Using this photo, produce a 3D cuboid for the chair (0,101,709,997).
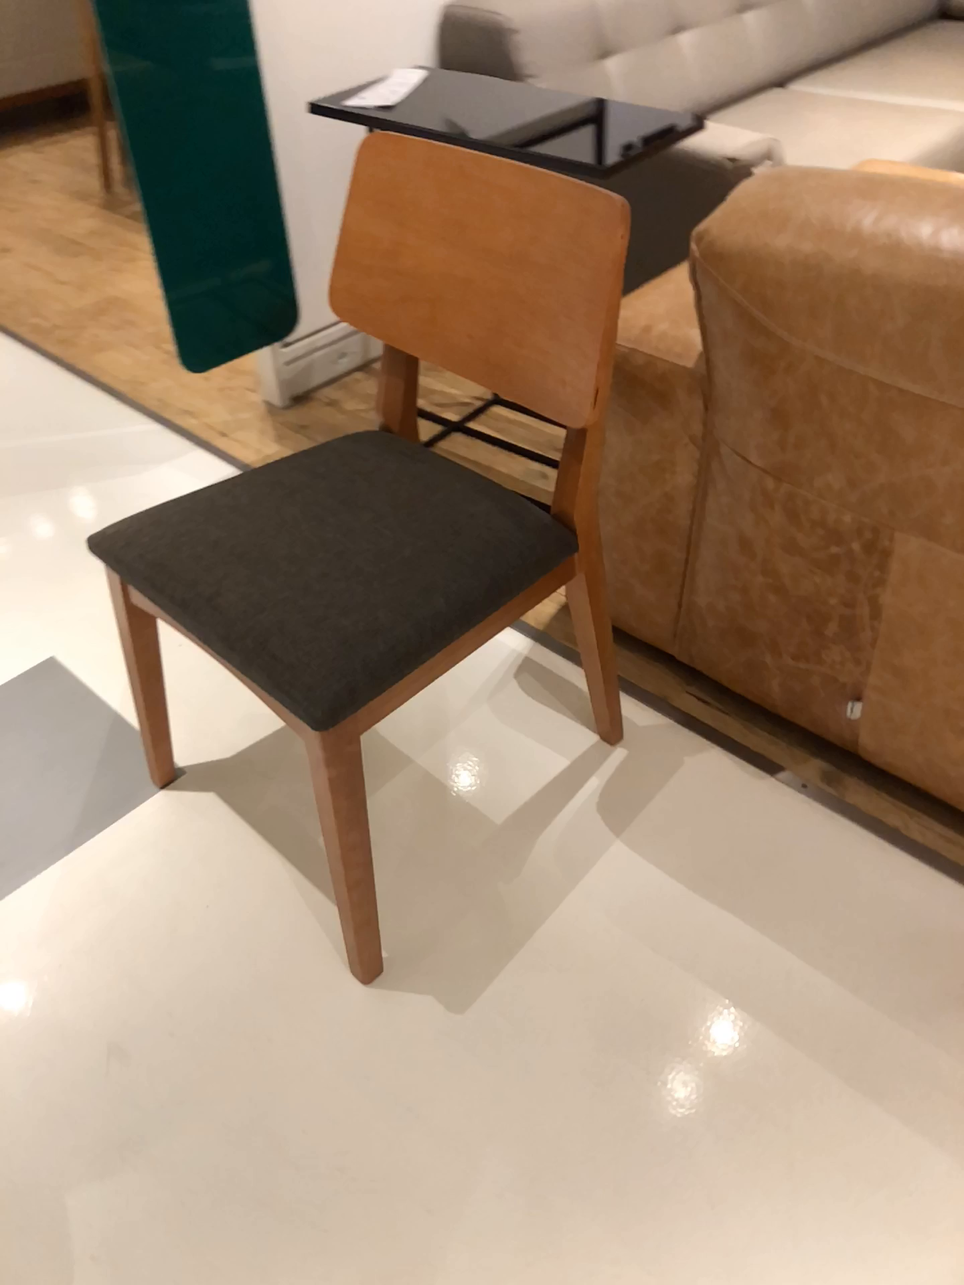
[{"bbox_3d":[-0.127,-0.122,1.282,0.482,0.794,0.562,31,51,34],"label":"chair"}]
